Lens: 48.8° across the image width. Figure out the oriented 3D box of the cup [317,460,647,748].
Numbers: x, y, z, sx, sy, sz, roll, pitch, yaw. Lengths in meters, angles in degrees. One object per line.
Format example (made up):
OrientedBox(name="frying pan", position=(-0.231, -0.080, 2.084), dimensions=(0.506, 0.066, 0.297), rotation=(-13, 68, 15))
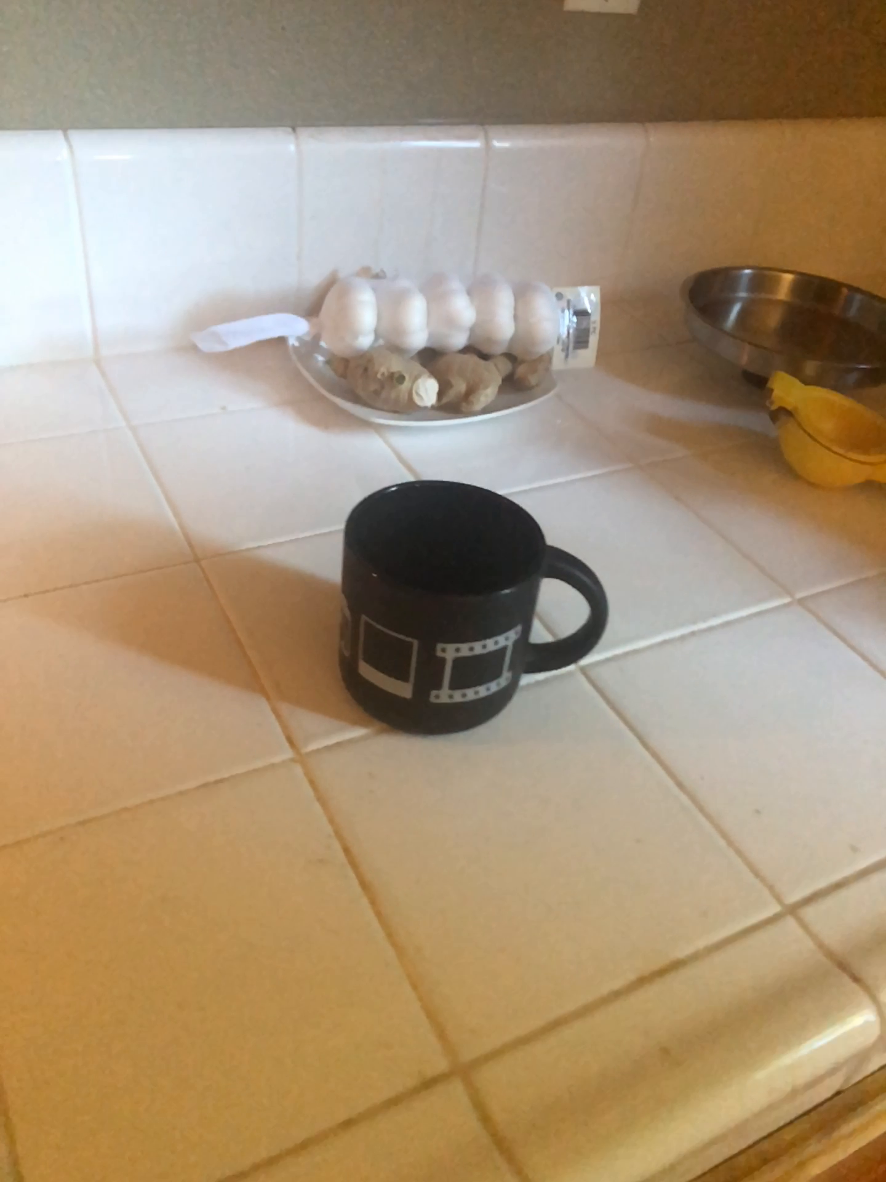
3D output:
OrientedBox(name="cup", position=(0.011, 0.006, 0.451), dimensions=(0.130, 0.089, 0.091), rotation=(3, 39, -6))
